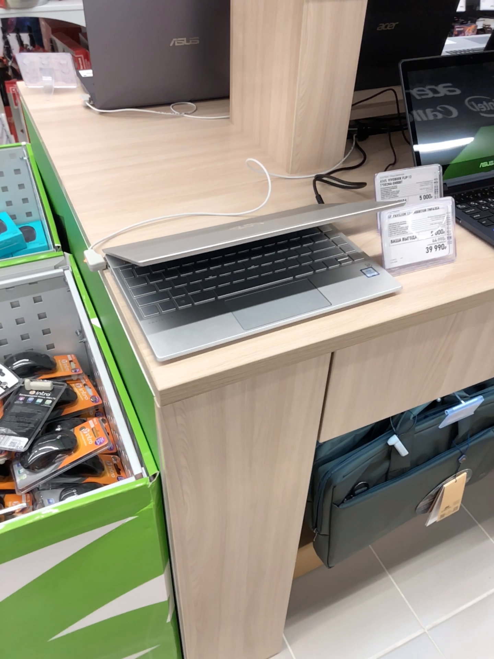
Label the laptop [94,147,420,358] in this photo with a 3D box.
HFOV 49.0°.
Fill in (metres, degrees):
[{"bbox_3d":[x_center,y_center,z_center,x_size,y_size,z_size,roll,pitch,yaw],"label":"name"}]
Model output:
[{"bbox_3d":[0.006,-0.112,0.661,0.322,0.095,0.206,-16,45,-20],"label":"laptop"}]
